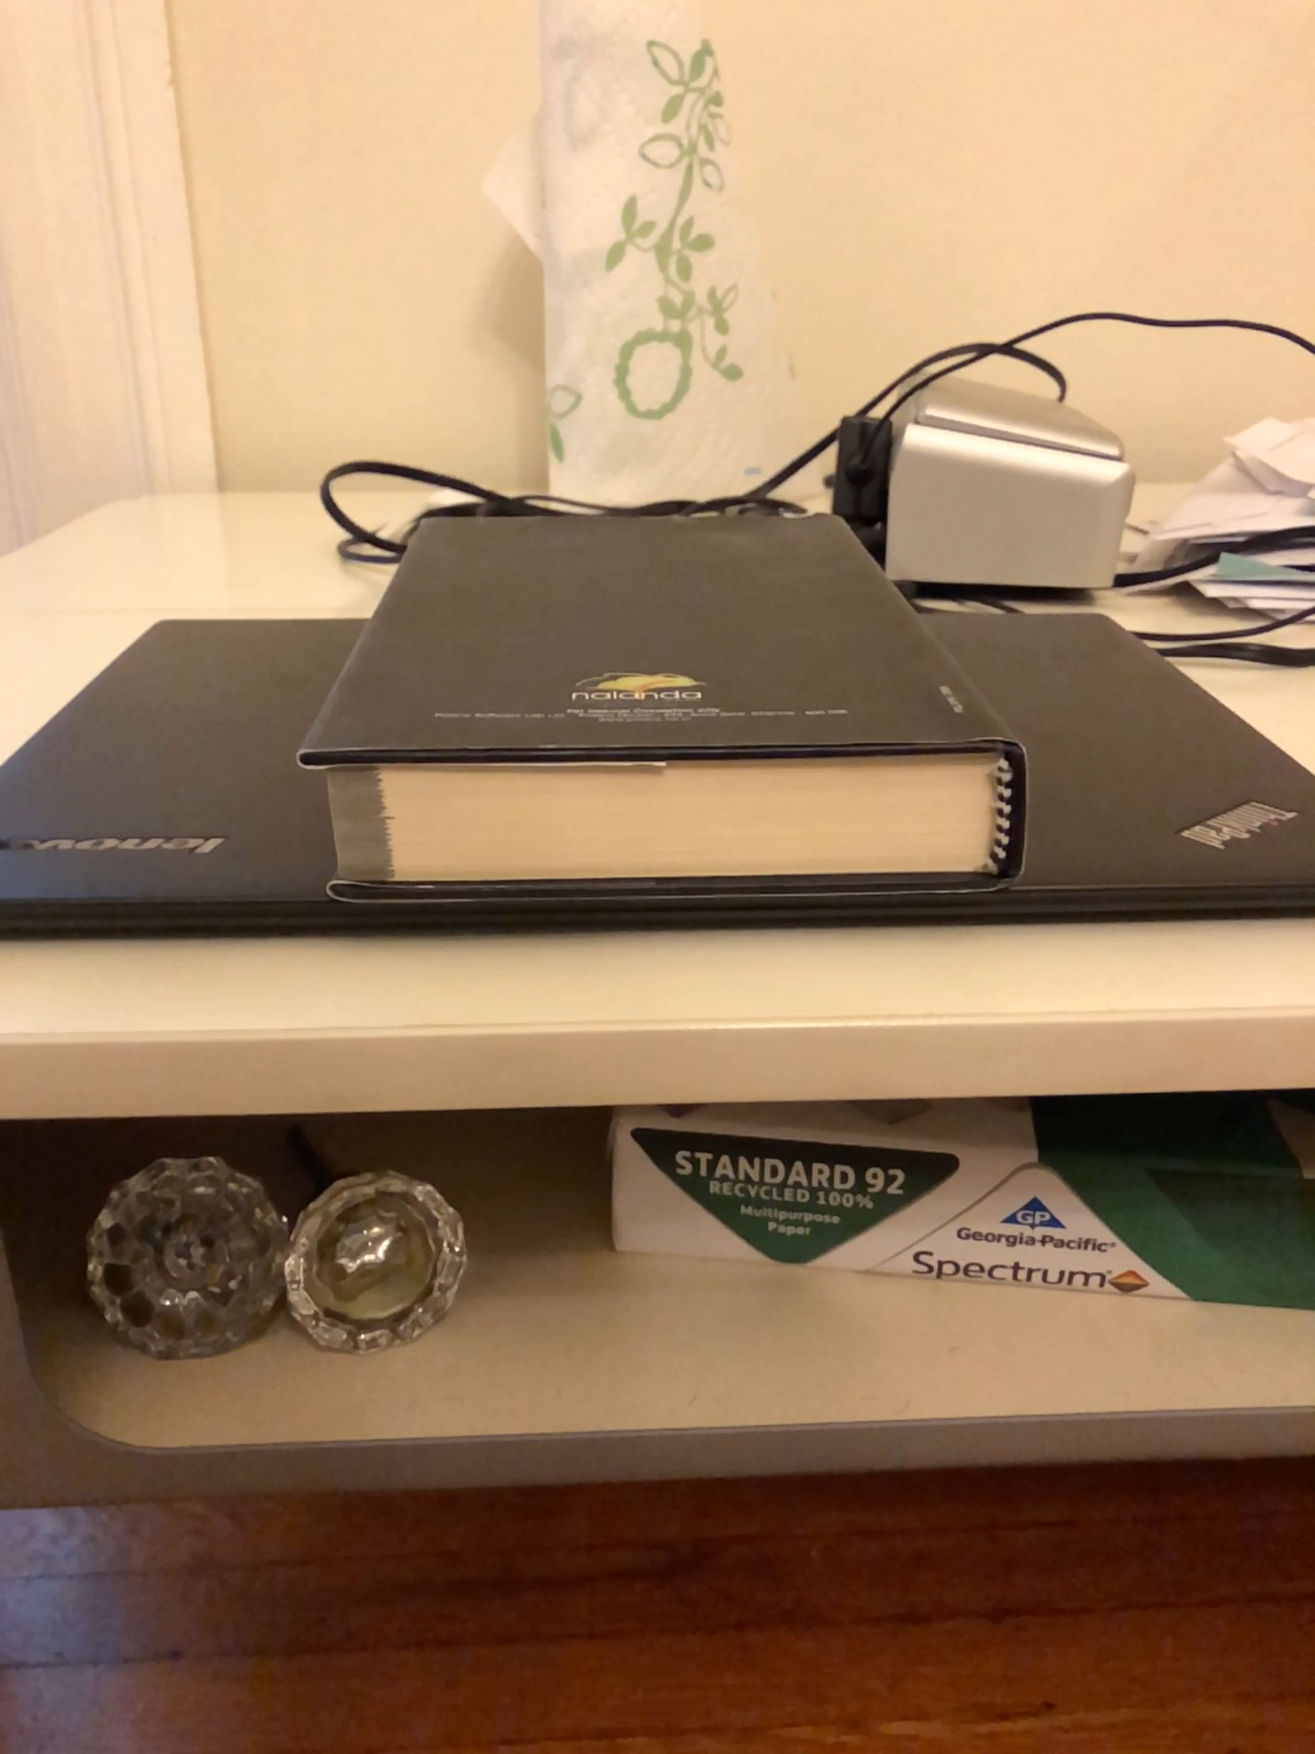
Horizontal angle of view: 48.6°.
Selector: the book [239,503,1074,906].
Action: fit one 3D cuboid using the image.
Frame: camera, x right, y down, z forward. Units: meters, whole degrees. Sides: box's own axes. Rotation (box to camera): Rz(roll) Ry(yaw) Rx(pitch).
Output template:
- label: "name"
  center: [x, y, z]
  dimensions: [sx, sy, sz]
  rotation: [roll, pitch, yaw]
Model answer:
- label: "book"
  center: [-0.004, -0.059, 0.375]
  dimensions: [0.150, 0.040, 0.231]
  rotation: [-1, 22, -2]
